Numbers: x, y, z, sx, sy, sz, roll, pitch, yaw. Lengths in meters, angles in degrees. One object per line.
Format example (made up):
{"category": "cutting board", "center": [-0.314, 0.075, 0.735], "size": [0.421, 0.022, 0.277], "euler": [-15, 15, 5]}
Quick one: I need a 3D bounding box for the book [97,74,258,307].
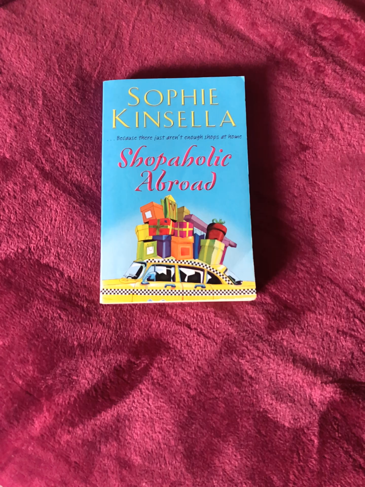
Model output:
{"category": "book", "center": [-0.006, -0.046, 0.355], "size": [0.129, 0.035, 0.200], "euler": [-1, 81, 0]}
